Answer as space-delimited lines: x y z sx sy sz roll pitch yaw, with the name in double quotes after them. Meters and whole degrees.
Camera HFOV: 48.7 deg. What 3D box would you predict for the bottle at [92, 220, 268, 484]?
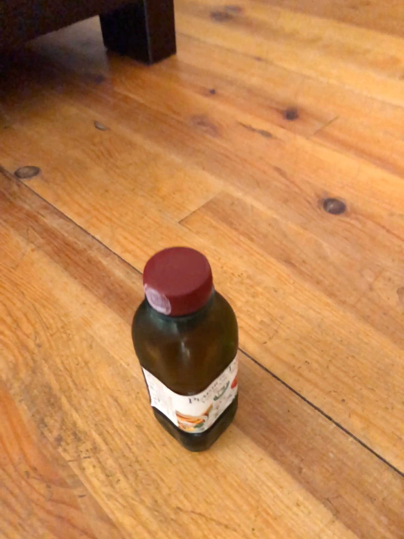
-0.006 0.055 0.252 0.050 0.149 0.060 33 57 30 "bottle"
